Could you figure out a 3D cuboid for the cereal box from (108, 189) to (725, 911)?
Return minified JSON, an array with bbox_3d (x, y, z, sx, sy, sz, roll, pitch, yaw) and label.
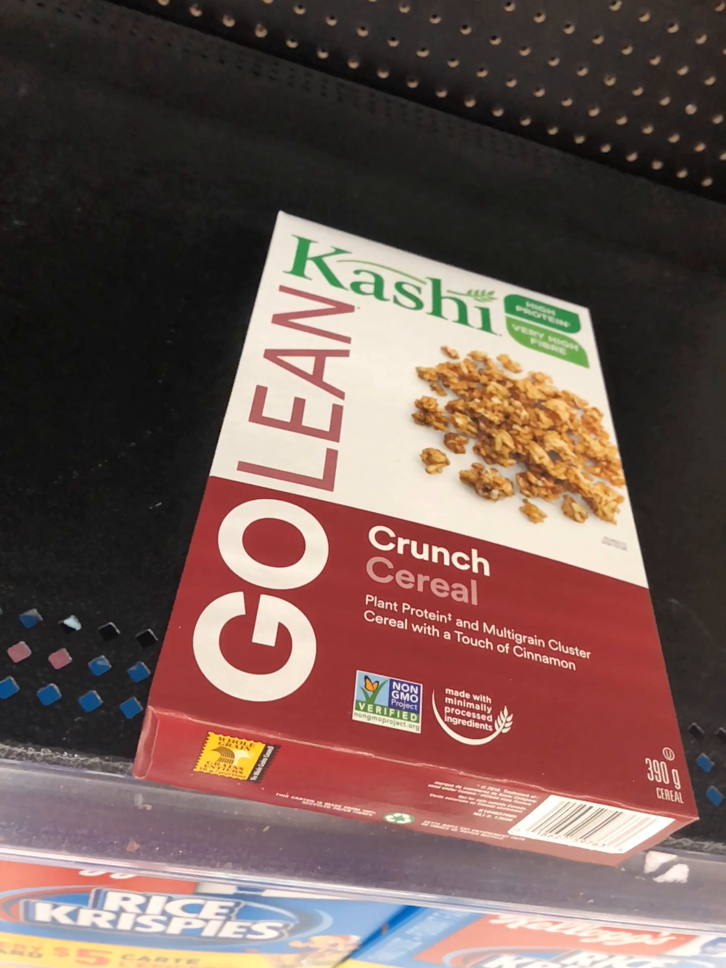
[{"bbox_3d":[0.029,-0.003,0.335,0.180,0.050,0.291,16,44,-11],"label":"cereal box"}]
